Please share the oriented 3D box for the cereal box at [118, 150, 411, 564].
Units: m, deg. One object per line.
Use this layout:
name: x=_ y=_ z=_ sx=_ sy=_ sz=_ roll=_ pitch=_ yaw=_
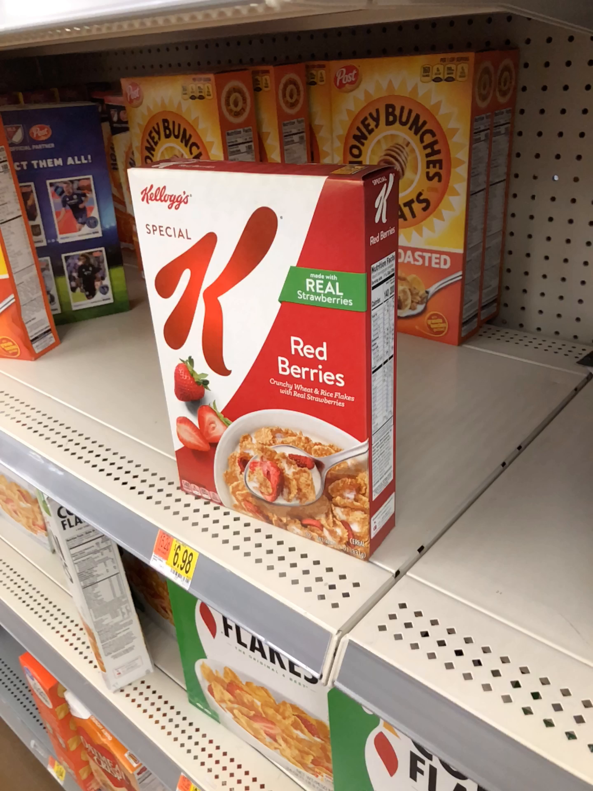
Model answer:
cereal box: x=-0.017 y=-0.030 z=0.500 sx=0.200 sy=0.289 sz=0.050 roll=14 pitch=35 yaw=32
